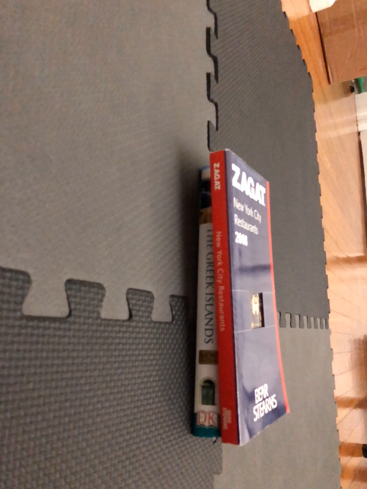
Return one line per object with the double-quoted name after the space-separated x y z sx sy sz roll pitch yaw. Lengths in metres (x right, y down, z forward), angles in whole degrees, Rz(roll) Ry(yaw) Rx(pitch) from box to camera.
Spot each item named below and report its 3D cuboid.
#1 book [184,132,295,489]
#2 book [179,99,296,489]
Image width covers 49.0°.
0.058 0.059 0.362 0.171 0.030 0.260 25 63 -58 "book"
0.048 0.039 0.310 0.151 0.020 0.250 9 76 -61 "book"
